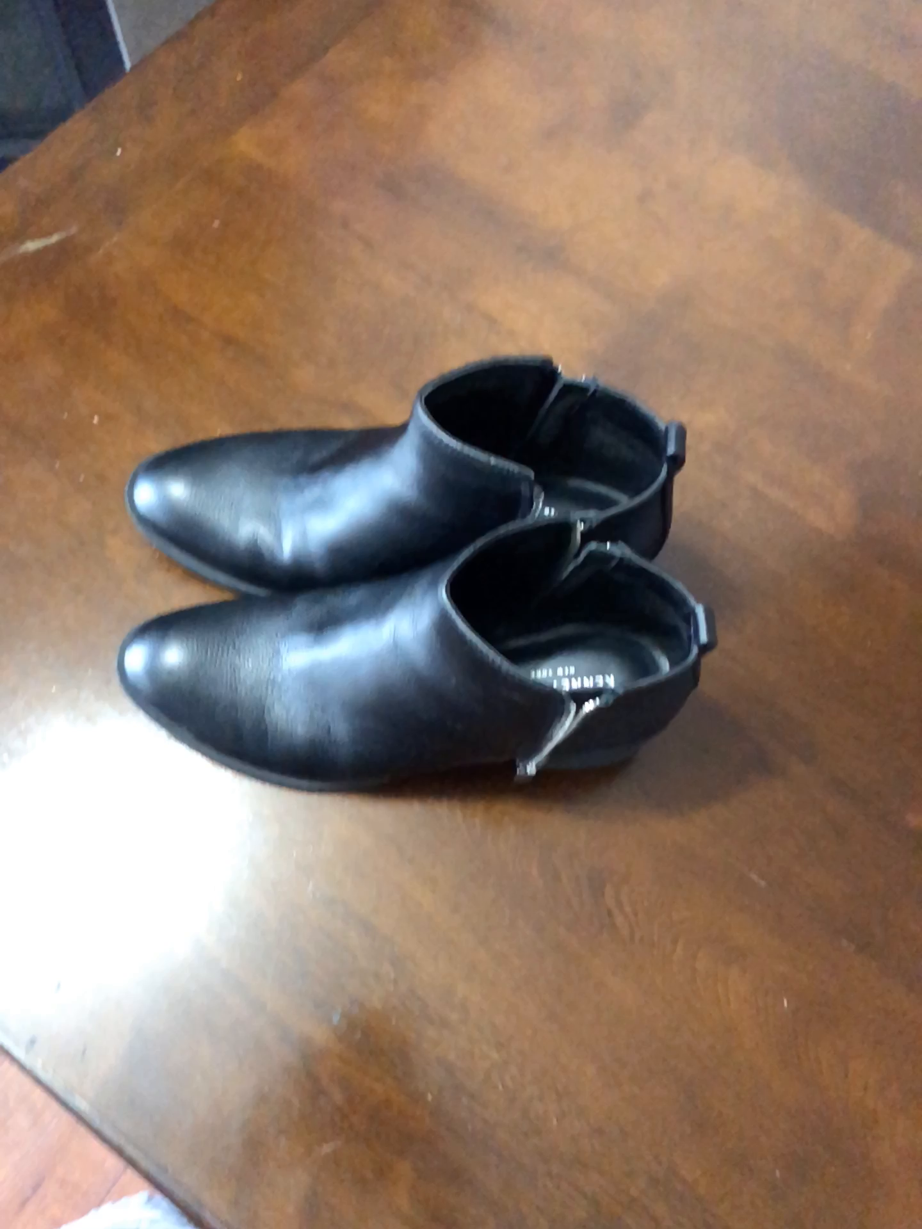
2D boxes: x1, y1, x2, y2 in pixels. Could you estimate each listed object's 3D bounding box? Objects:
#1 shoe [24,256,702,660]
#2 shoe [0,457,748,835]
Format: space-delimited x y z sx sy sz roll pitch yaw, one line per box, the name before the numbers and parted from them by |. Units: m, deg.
shoe | -0.036 -0.064 0.472 0.260 0.130 0.100 7 68 0
shoe | -0.030 0.021 0.429 0.260 0.130 0.100 5 68 -1
